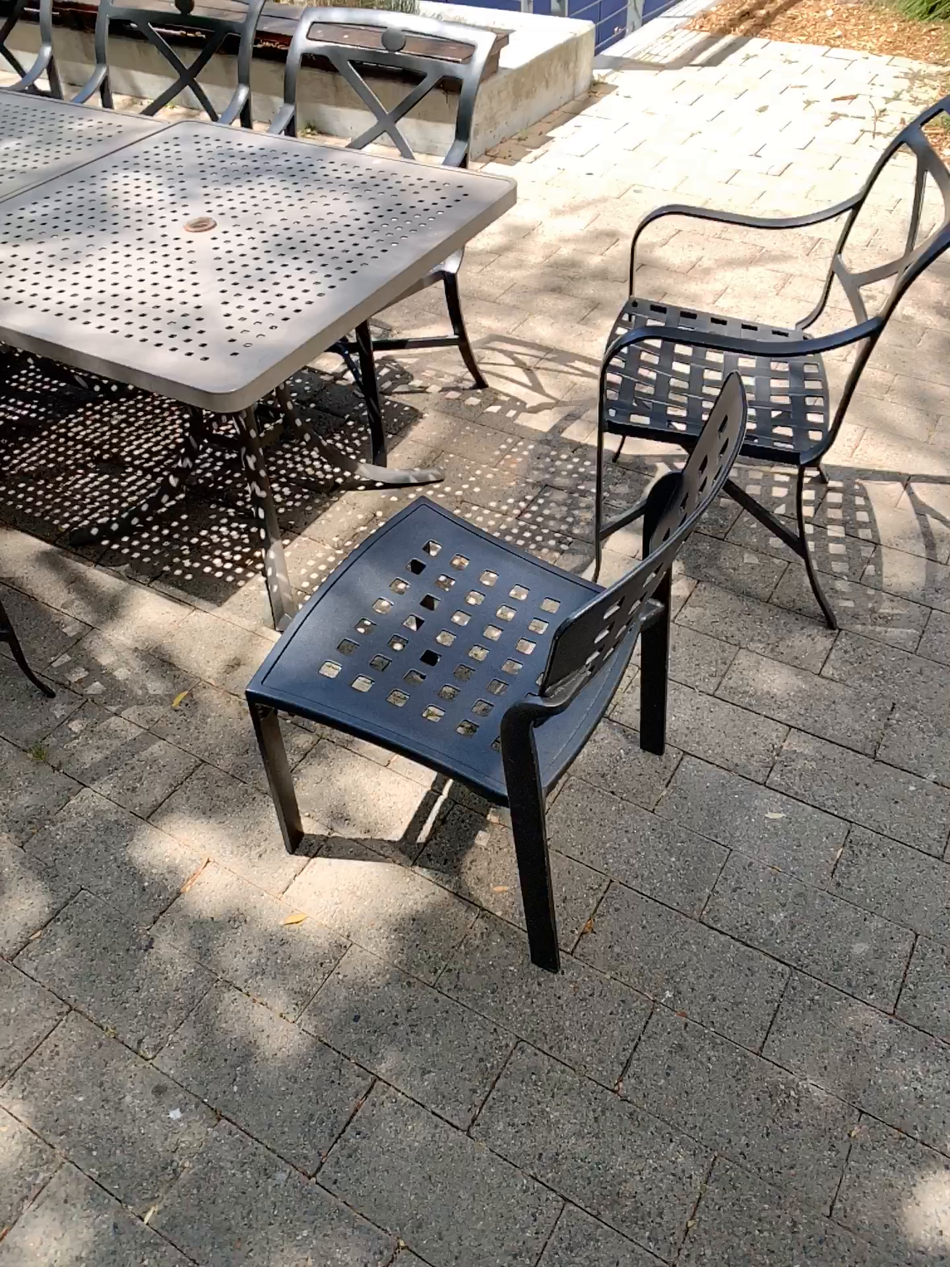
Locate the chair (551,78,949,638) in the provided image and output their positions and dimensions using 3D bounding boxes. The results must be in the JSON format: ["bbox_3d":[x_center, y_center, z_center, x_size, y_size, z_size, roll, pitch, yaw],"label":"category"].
[{"bbox_3d":[0.509,-0.508,1.797,0.650,0.756,0.623,6,46,8],"label":"chair"}]

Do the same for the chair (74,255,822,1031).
[{"bbox_3d":[0.012,-0.006,1.366,0.651,0.706,0.622,18,49,19],"label":"chair"}]
